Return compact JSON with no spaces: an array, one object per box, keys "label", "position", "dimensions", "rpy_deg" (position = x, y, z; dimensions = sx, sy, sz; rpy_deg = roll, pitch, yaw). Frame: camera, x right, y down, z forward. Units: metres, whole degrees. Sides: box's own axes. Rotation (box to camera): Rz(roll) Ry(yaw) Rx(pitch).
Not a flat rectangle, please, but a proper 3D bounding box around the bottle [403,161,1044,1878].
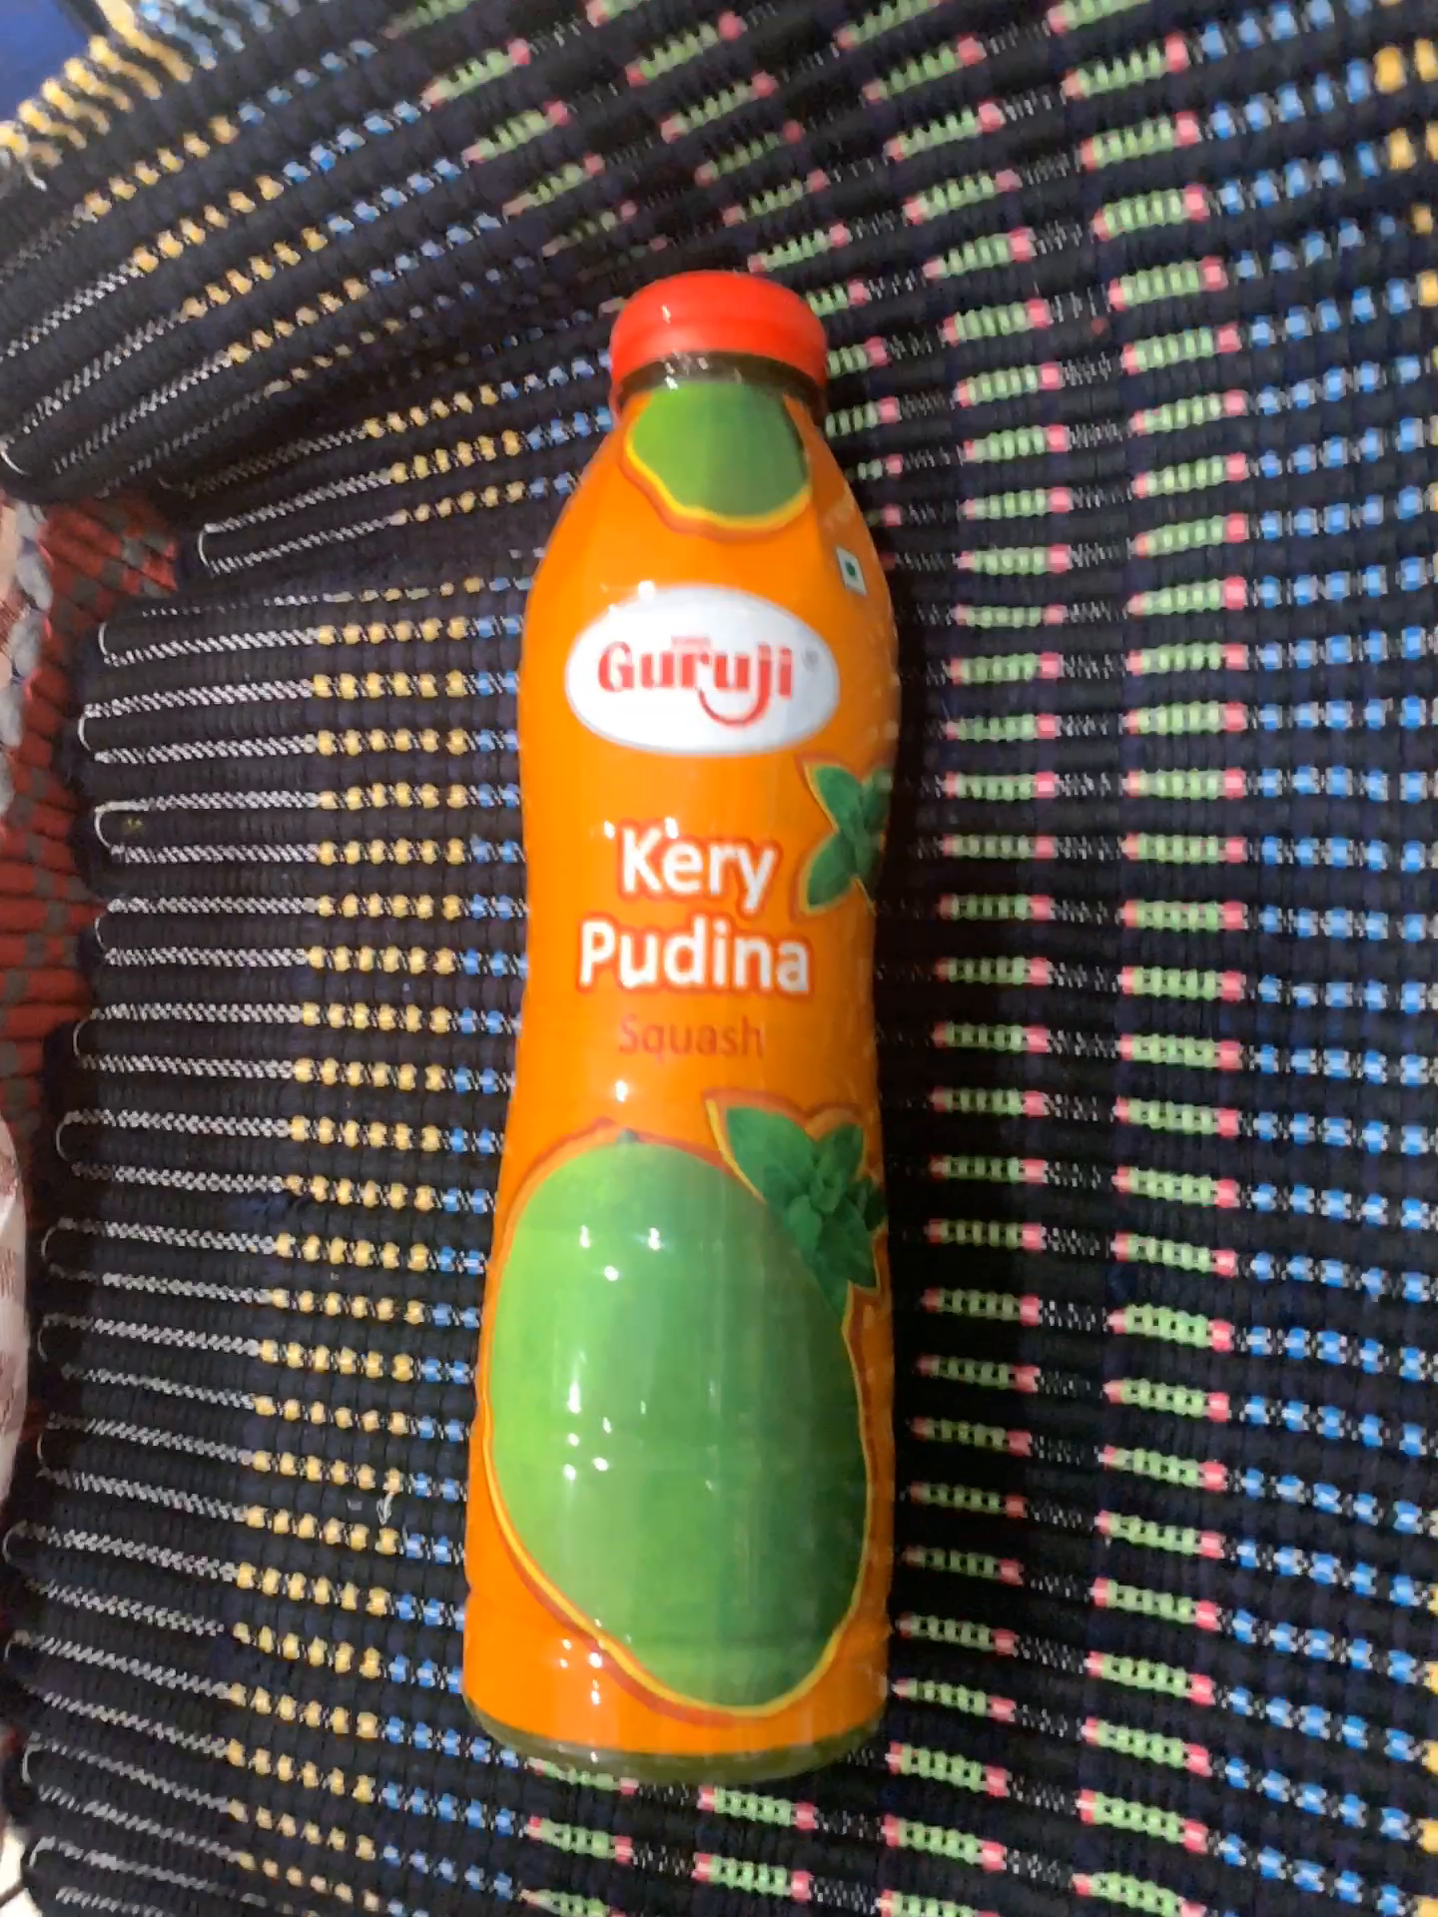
[{"label":"bottle","position":[0.001,0.006,0.243],"dimensions":[0.070,0.070,0.230],"rpy_deg":[7,80,-24]}]
